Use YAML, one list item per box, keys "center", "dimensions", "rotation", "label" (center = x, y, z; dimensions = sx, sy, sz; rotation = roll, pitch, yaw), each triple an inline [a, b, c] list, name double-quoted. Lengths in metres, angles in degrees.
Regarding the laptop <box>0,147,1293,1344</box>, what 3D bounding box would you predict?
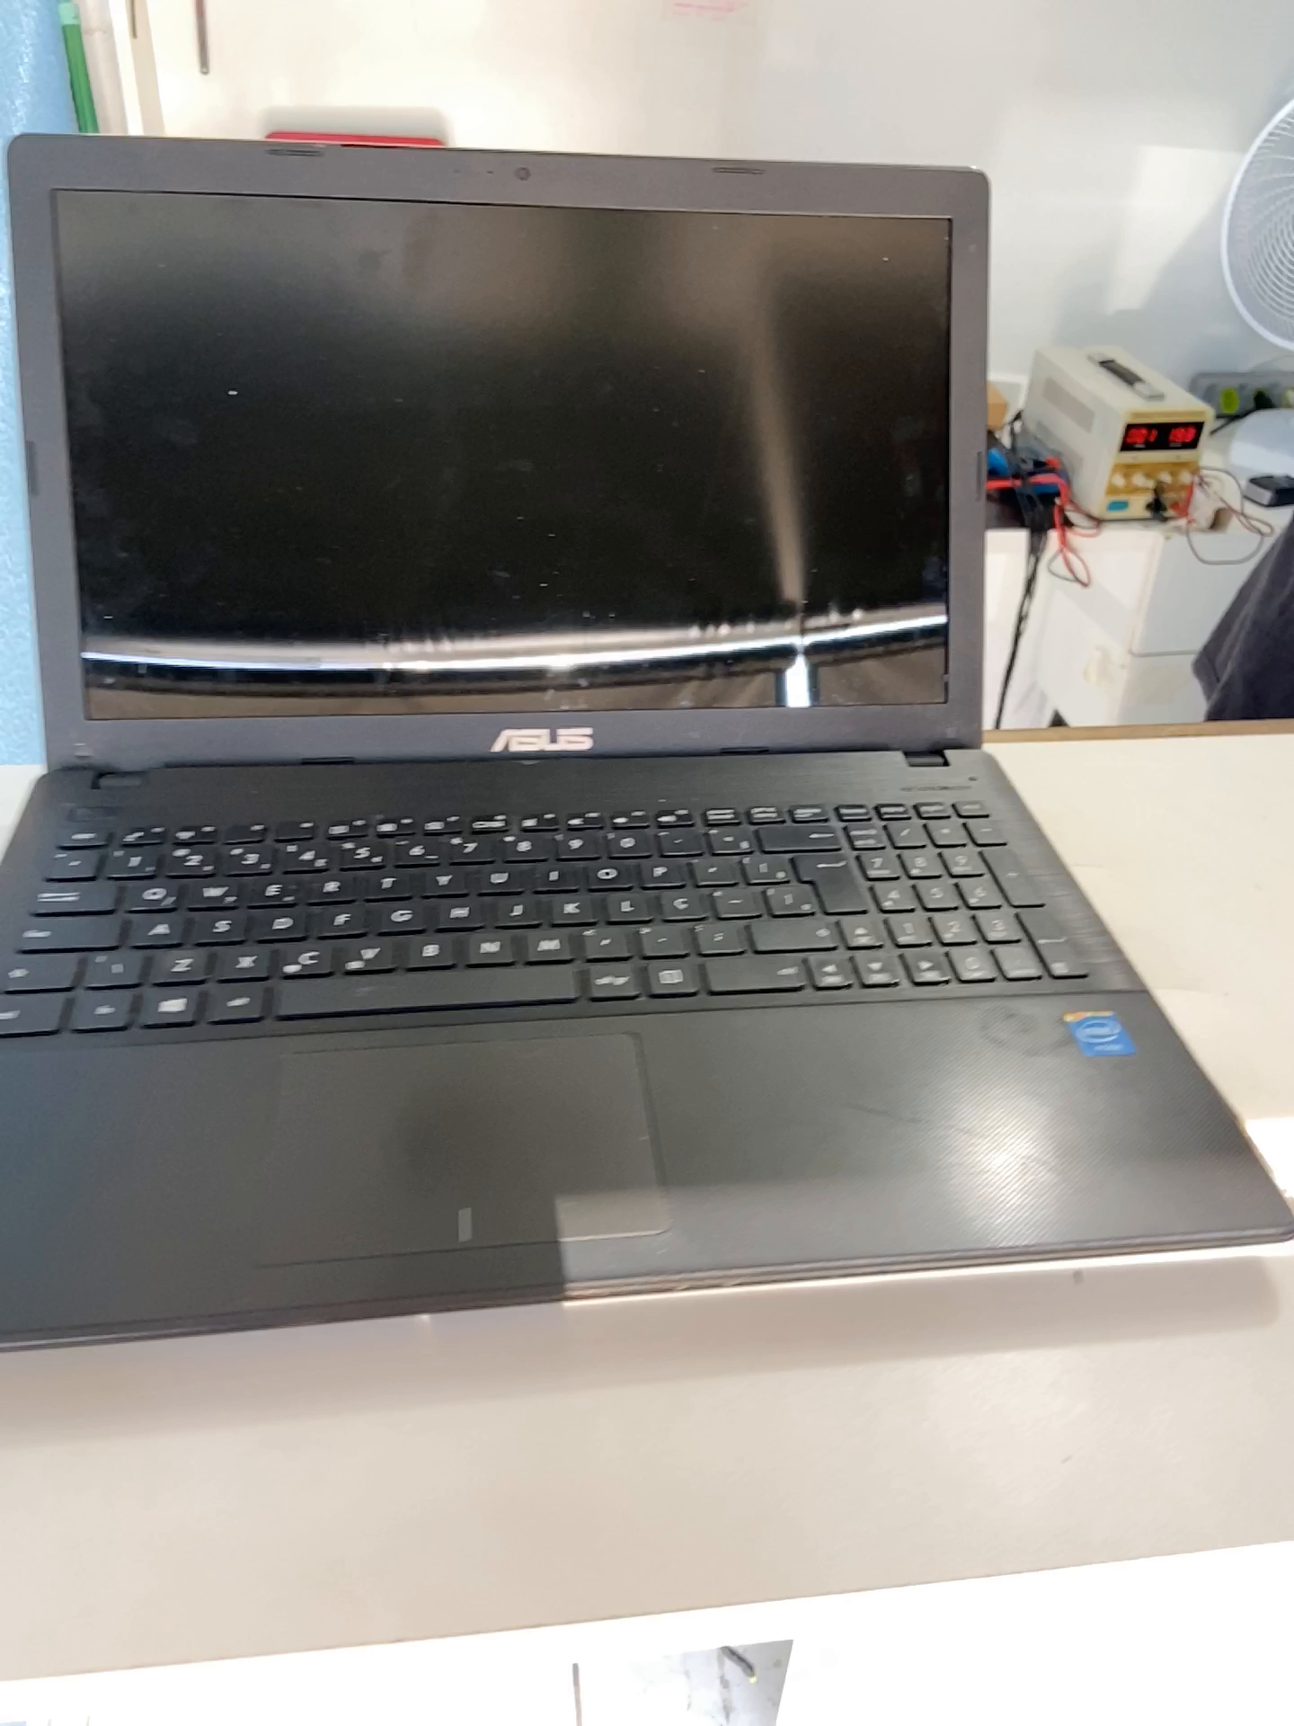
- center: [-0.031, -0.085, 0.419]
  dimensions: [0.367, 0.200, 0.363]
  rotation: [-3, 35, -6]
  label: "laptop"
